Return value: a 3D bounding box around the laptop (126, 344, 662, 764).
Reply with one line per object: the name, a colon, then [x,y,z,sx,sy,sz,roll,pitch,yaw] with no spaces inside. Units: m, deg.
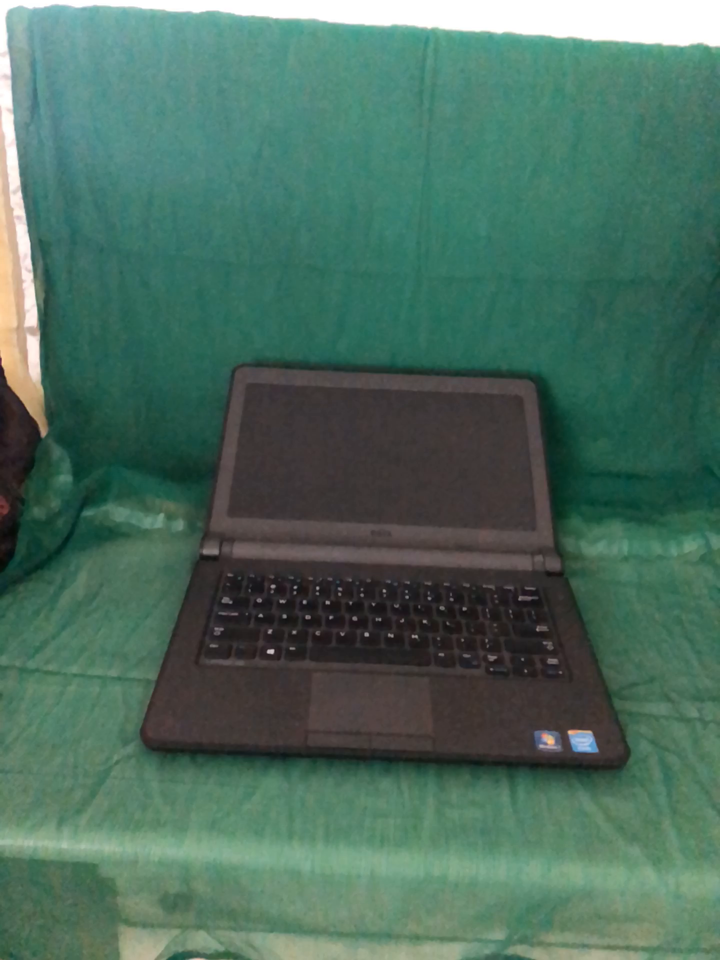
laptop: [0.022,0.019,0.658,0.311,0.096,0.422,3,31,0]
